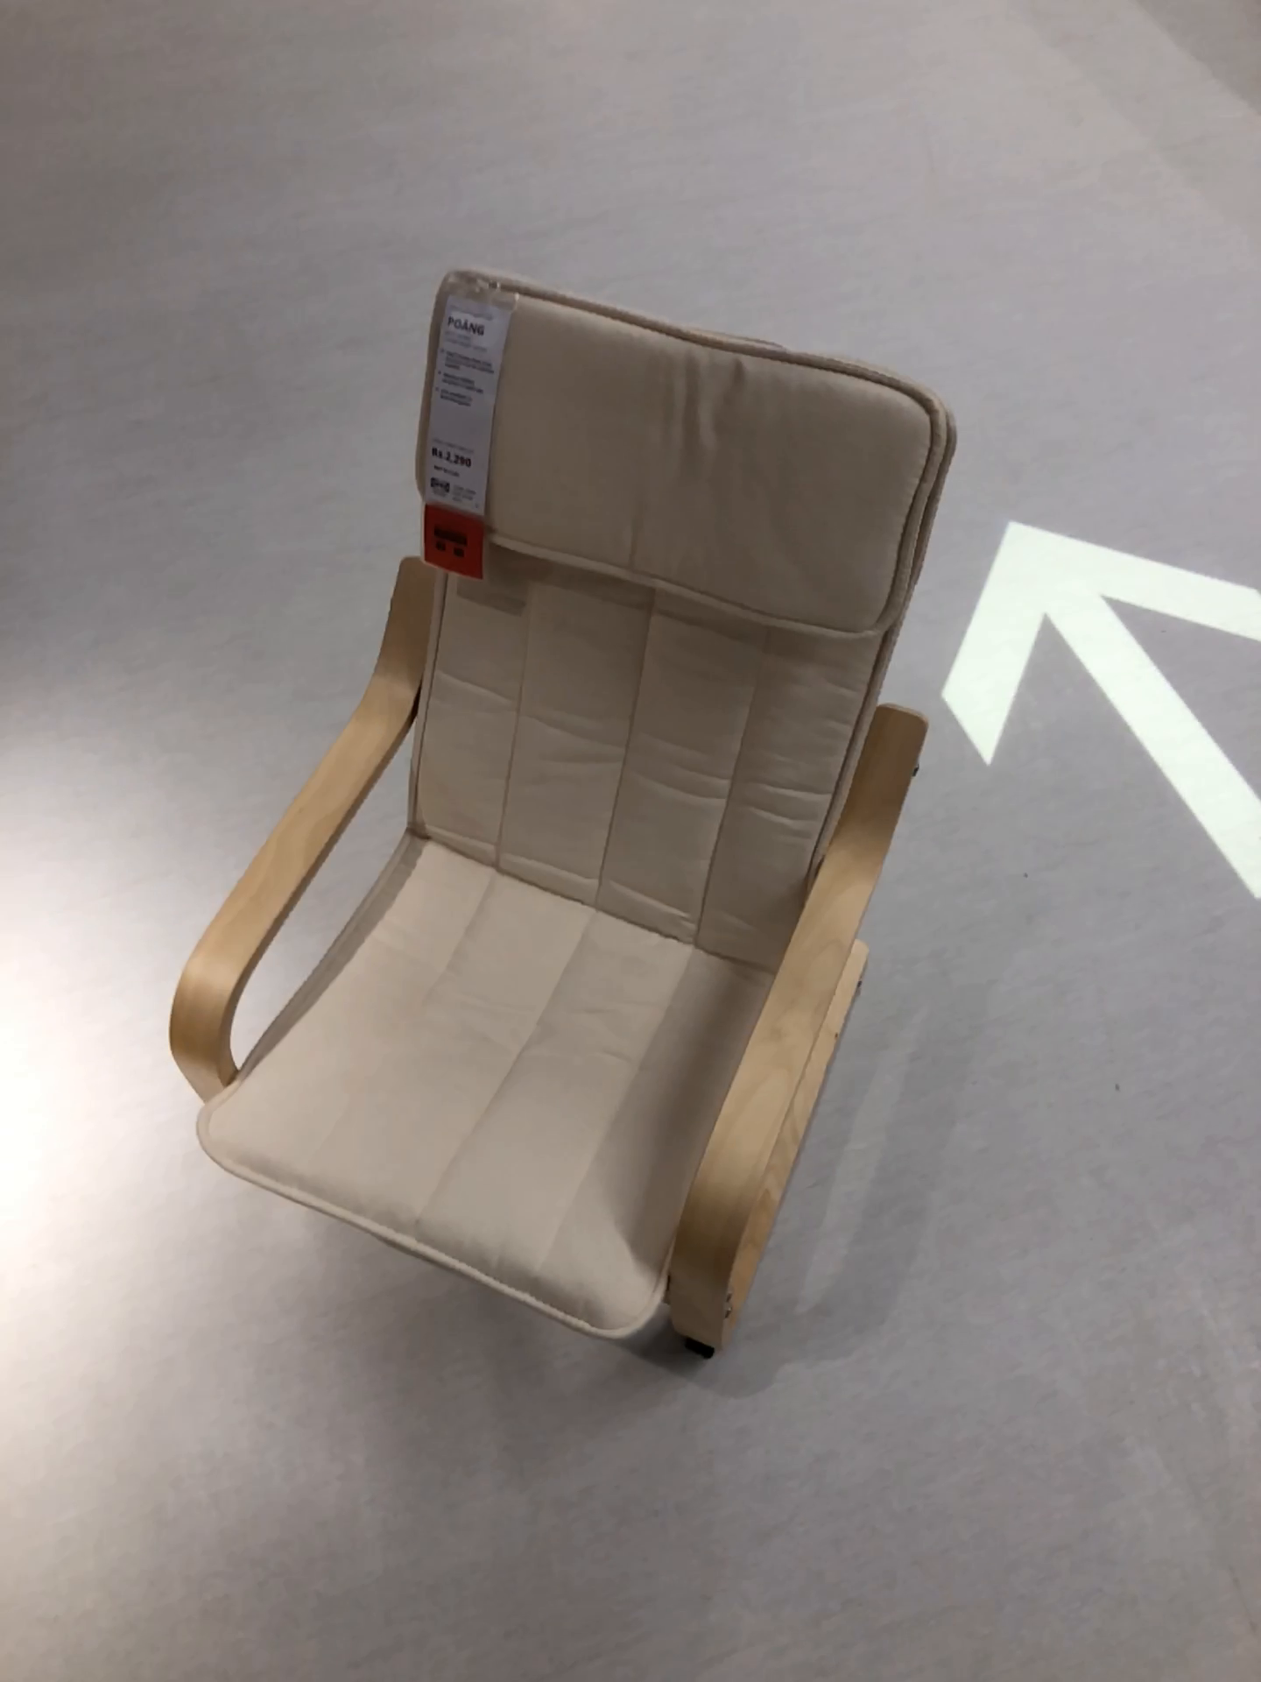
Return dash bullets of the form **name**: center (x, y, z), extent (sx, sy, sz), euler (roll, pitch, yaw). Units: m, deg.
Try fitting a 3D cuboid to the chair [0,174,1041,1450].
- **chair**: center (-0.096, 0.045, 1.176), extent (0.561, 0.836, 0.582), euler (19, 60, 13)
